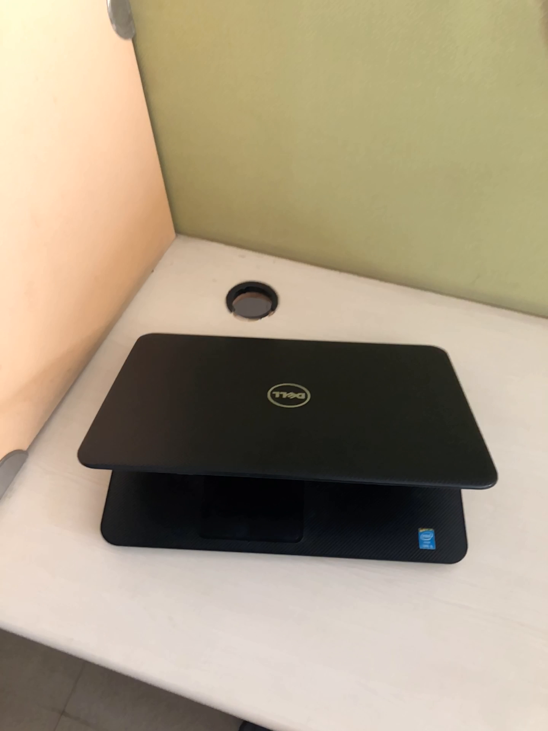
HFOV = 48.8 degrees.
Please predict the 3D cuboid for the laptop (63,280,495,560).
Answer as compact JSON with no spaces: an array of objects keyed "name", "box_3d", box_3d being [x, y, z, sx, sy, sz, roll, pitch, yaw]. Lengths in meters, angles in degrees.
[{"name":"laptop","box_3d":[0.009,0.049,0.624,0.366,0.107,0.248,2,56,2]}]
